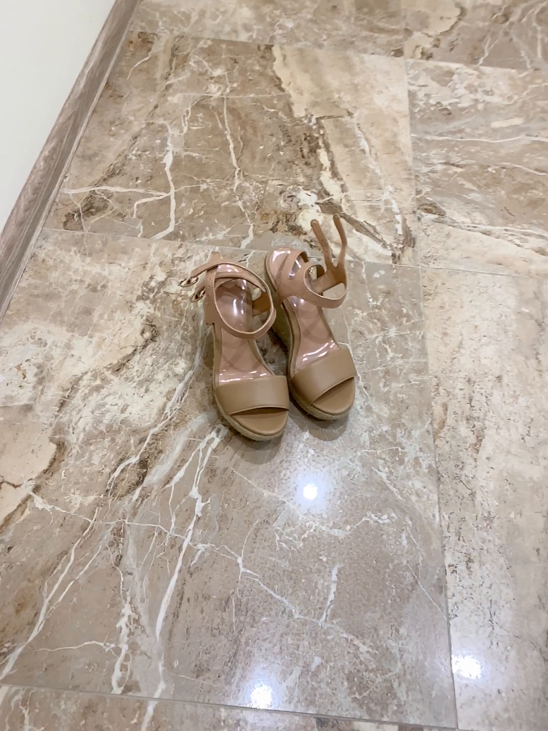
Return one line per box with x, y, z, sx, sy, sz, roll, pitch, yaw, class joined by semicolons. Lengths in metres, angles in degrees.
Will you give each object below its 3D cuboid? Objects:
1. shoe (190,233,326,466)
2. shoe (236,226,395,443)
-0.026;-0.018;0.652;0.090;0.150;0.211;-12;59;-12;shoe
0.037;-0.039;0.678;0.090;0.130;0.211;-20;61;-16;shoe
